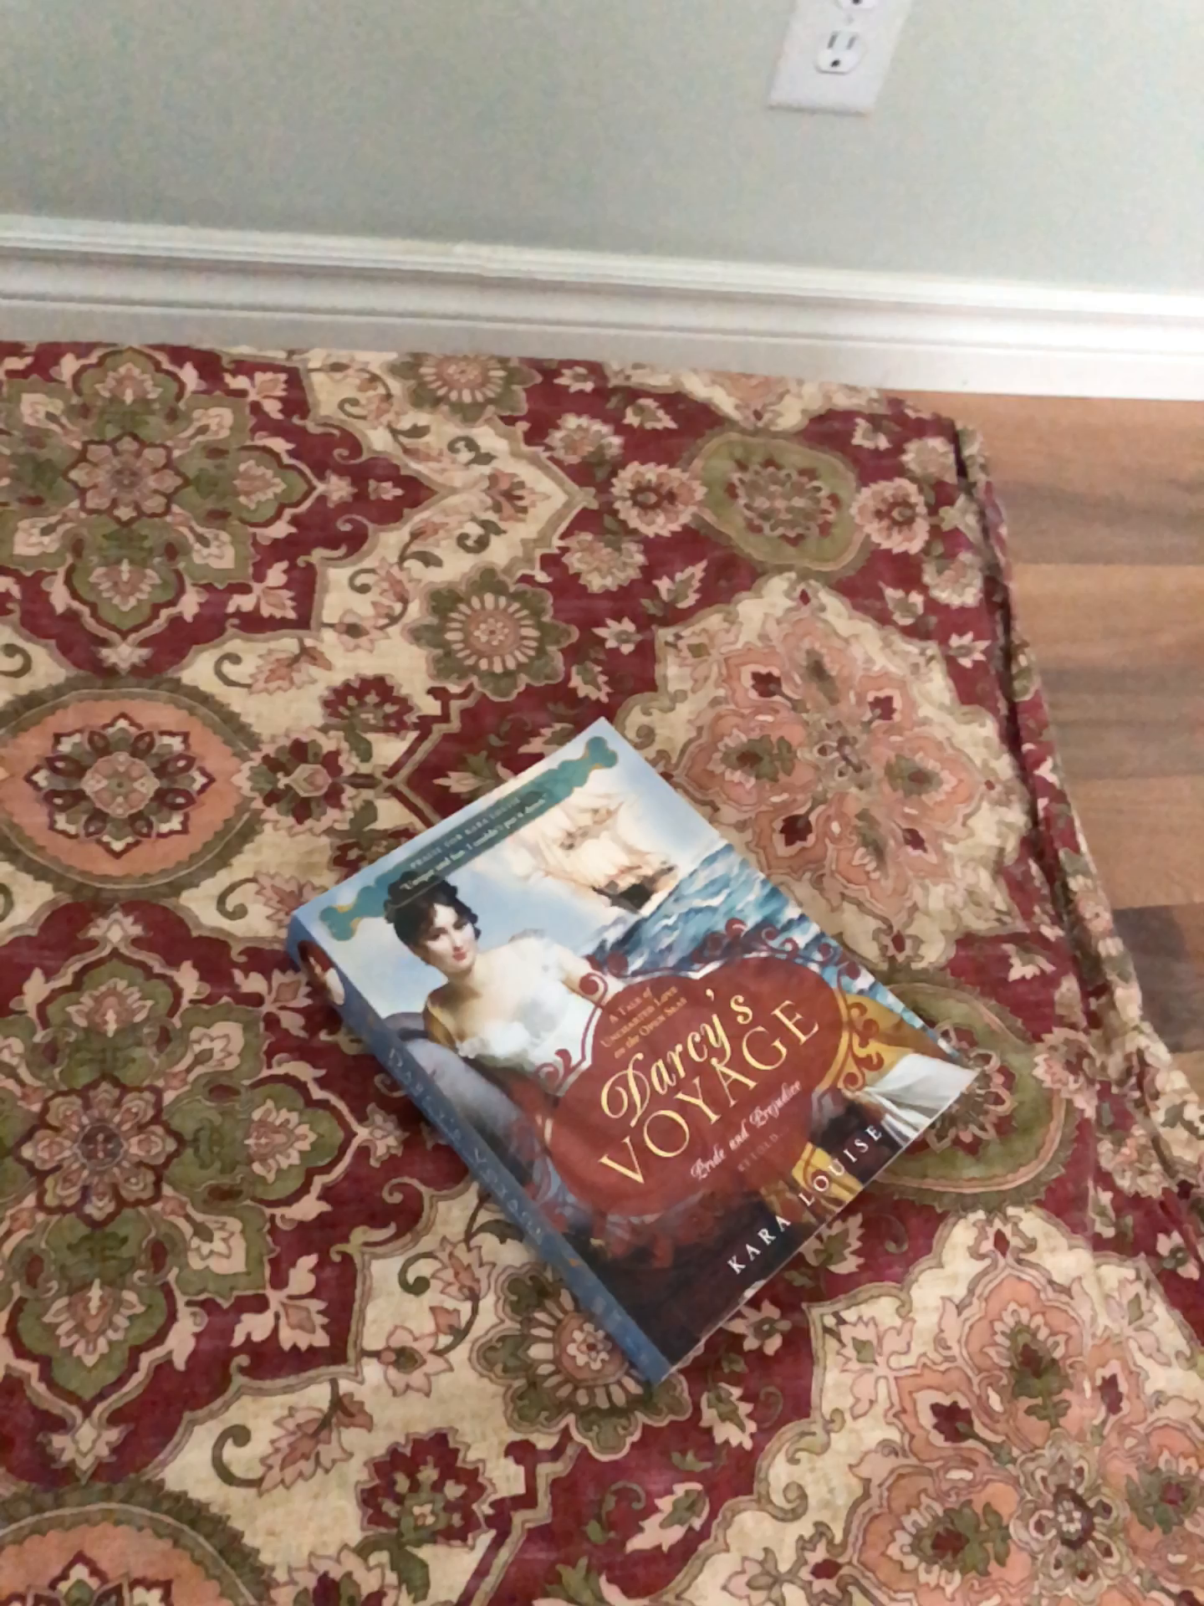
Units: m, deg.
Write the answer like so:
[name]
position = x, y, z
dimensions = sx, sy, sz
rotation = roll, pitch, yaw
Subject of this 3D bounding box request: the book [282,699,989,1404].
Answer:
[book]
position = 0.010, 0.073, 0.472
dimensions = 0.155, 0.034, 0.200
rotation = -33, 69, -30
